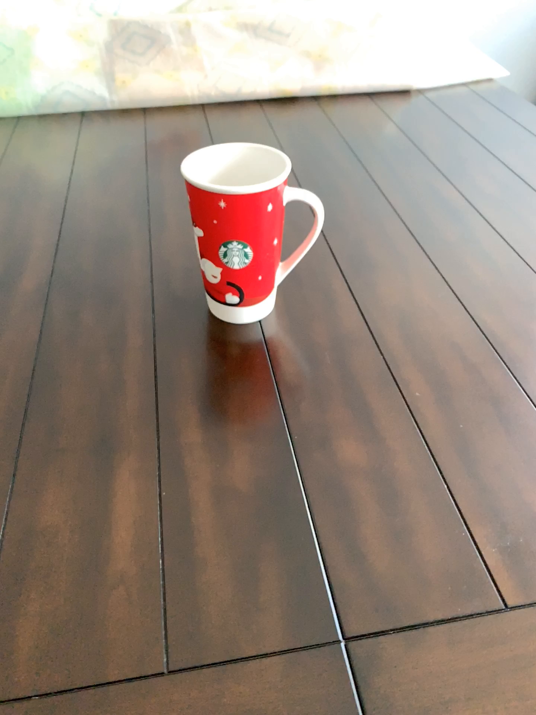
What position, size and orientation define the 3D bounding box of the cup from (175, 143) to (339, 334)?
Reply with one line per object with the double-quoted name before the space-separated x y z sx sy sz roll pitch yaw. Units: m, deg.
"cup" -0.014 -0.111 0.522 0.130 0.139 0.101 -3 43 -4
